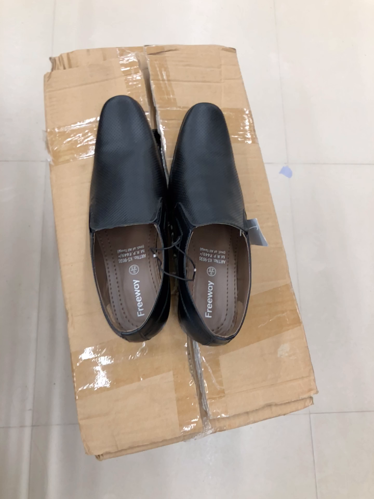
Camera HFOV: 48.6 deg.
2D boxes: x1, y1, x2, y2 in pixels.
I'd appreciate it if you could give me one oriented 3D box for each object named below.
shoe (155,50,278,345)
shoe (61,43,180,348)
[{"bbox_3d":[0.023,-0.056,0.482,0.100,0.100,0.320,-1,77,-10],"label":"shoe"},{"bbox_3d":[-0.074,-0.058,0.472,0.100,0.100,0.320,-5,77,0],"label":"shoe"}]
